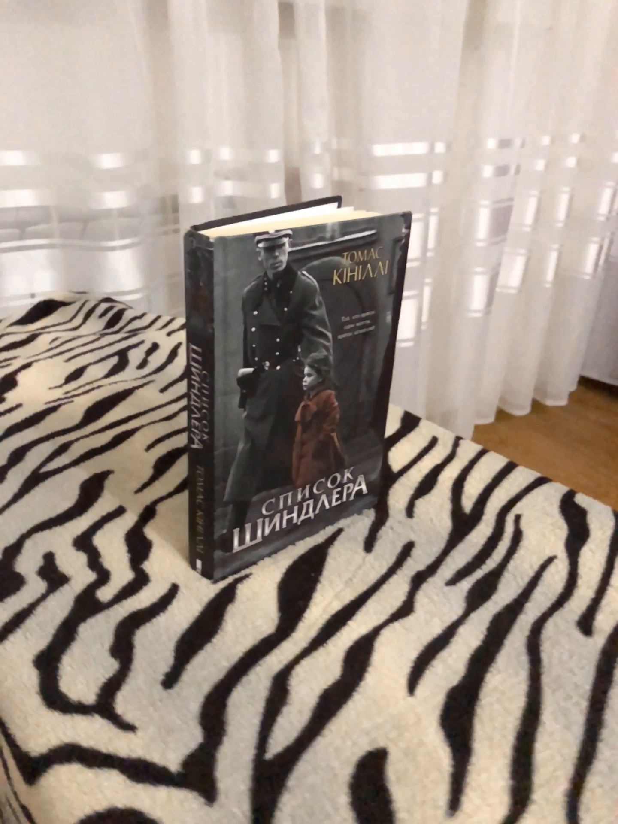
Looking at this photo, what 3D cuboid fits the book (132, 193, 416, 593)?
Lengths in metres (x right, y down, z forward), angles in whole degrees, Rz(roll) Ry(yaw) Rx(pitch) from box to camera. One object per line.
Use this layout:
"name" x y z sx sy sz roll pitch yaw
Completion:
"book" -0.017 -0.016 0.394 0.144 0.191 0.057 -22 36 -39
